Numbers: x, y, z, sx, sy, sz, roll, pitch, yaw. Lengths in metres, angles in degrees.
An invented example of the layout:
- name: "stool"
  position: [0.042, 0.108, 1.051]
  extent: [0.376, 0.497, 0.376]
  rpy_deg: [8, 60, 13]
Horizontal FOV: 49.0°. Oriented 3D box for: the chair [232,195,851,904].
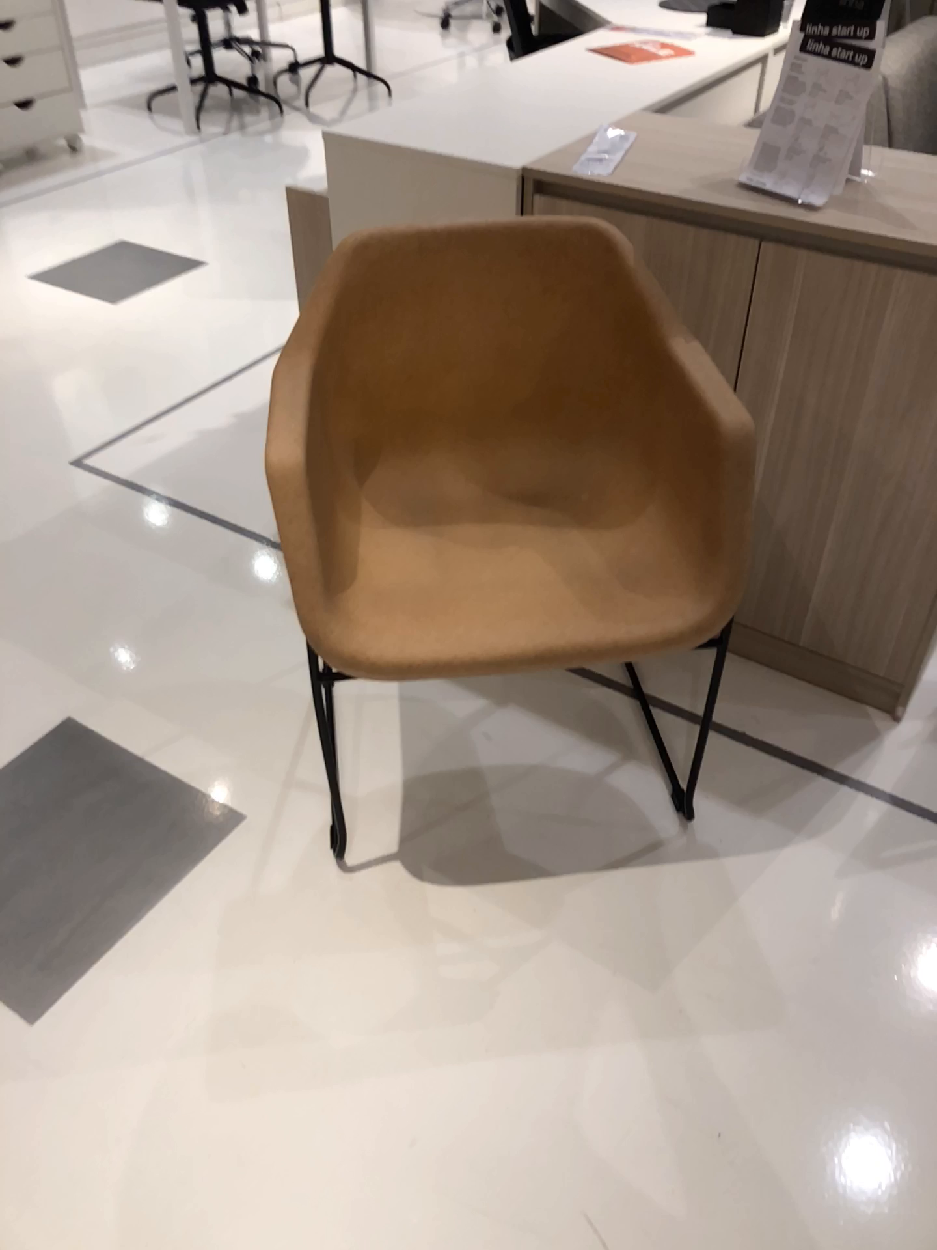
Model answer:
- name: "chair"
  position: [0.036, -0.114, 1.399]
  extent: [0.590, 0.705, 0.574]
  rpy_deg: [-6, 39, -7]
